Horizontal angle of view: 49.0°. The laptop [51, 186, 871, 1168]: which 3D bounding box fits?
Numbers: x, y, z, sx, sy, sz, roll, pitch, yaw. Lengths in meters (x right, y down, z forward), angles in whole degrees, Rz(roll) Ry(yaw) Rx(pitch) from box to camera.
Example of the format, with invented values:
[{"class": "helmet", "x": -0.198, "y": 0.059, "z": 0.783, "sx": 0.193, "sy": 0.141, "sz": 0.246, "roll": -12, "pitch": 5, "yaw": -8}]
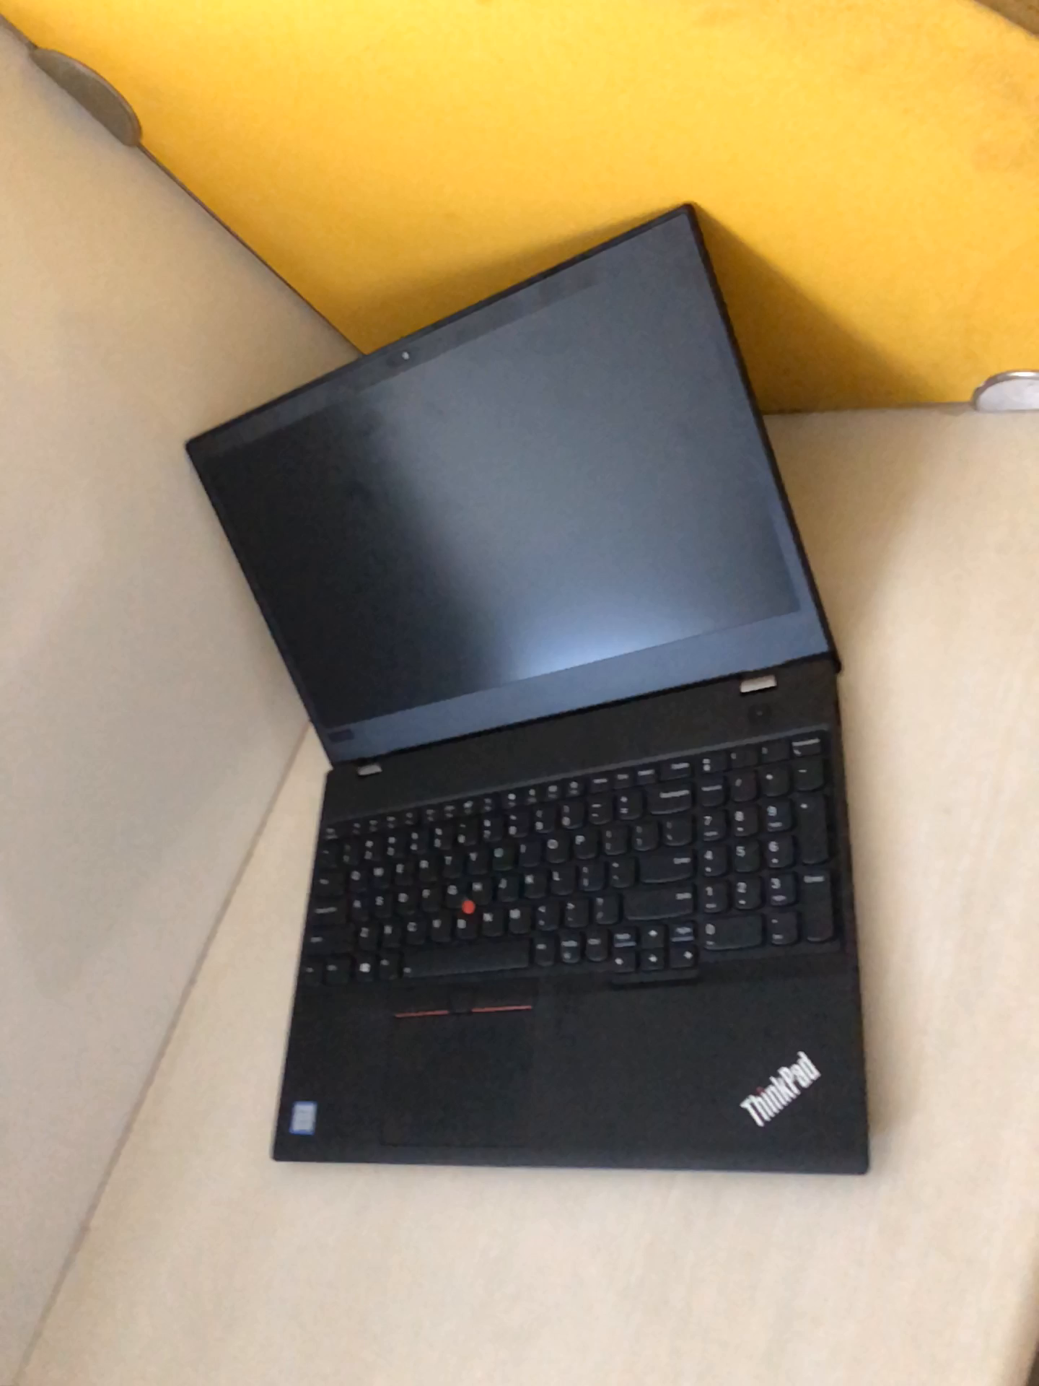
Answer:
[{"class": "laptop", "x": -0.032, "y": 0.011, "z": 0.603, "sx": 0.345, "sy": 0.150, "sz": 0.421, "roll": -14, "pitch": 60, "yaw": 31}]
